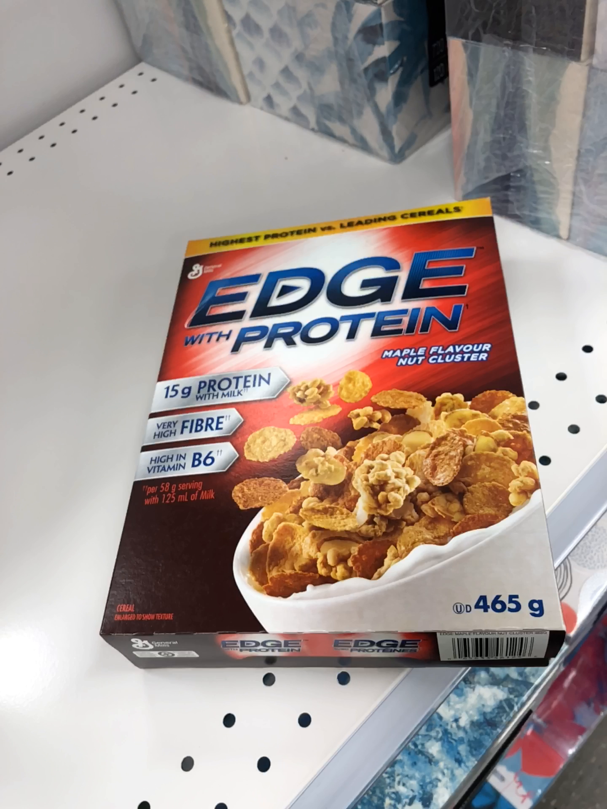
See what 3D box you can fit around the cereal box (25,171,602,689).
[{"bbox_3d":[0.006,-0.001,0.352,0.220,0.050,0.271,-5,53,11],"label":"cereal box"}]
